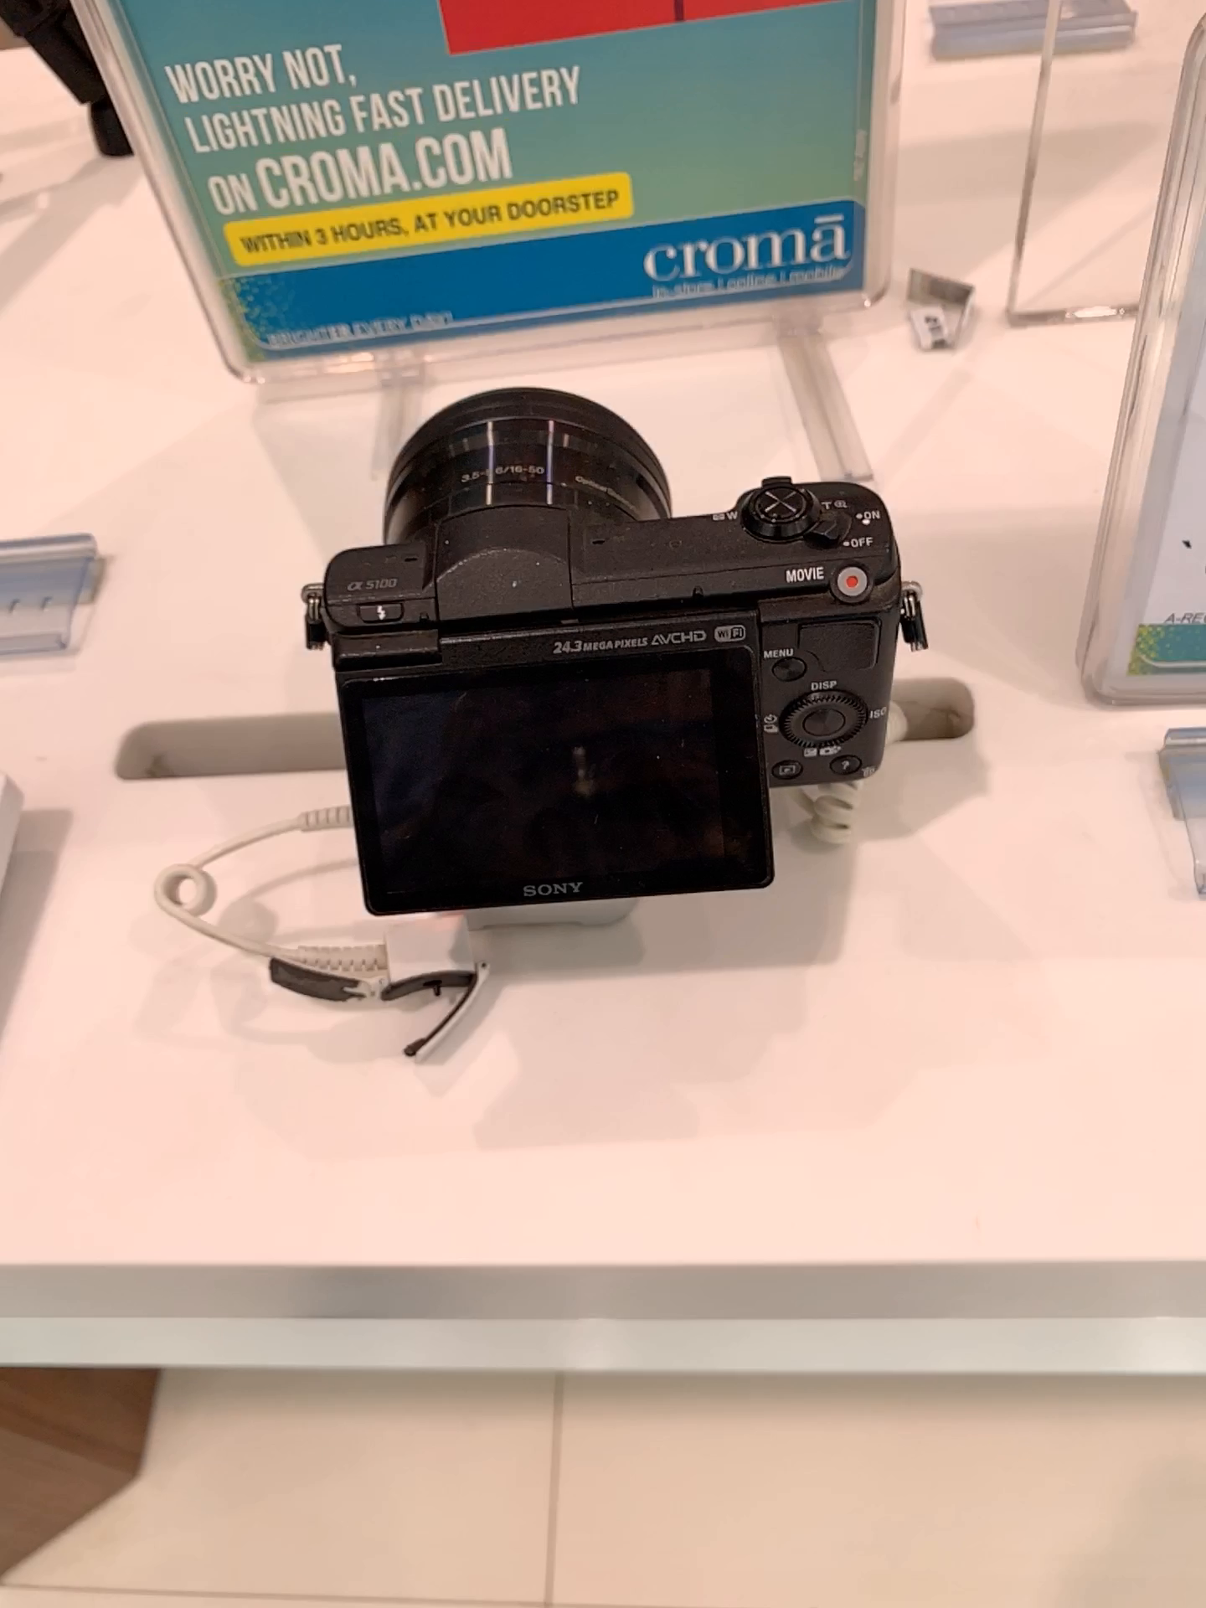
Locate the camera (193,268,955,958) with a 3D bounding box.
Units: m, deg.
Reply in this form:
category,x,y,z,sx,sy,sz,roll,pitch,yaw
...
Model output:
category,x,y,z,sx,sy,sz,roll,pitch,yaw
camera,-0.001,-0.033,0.239,0.110,0.082,0.088,-5,53,5
